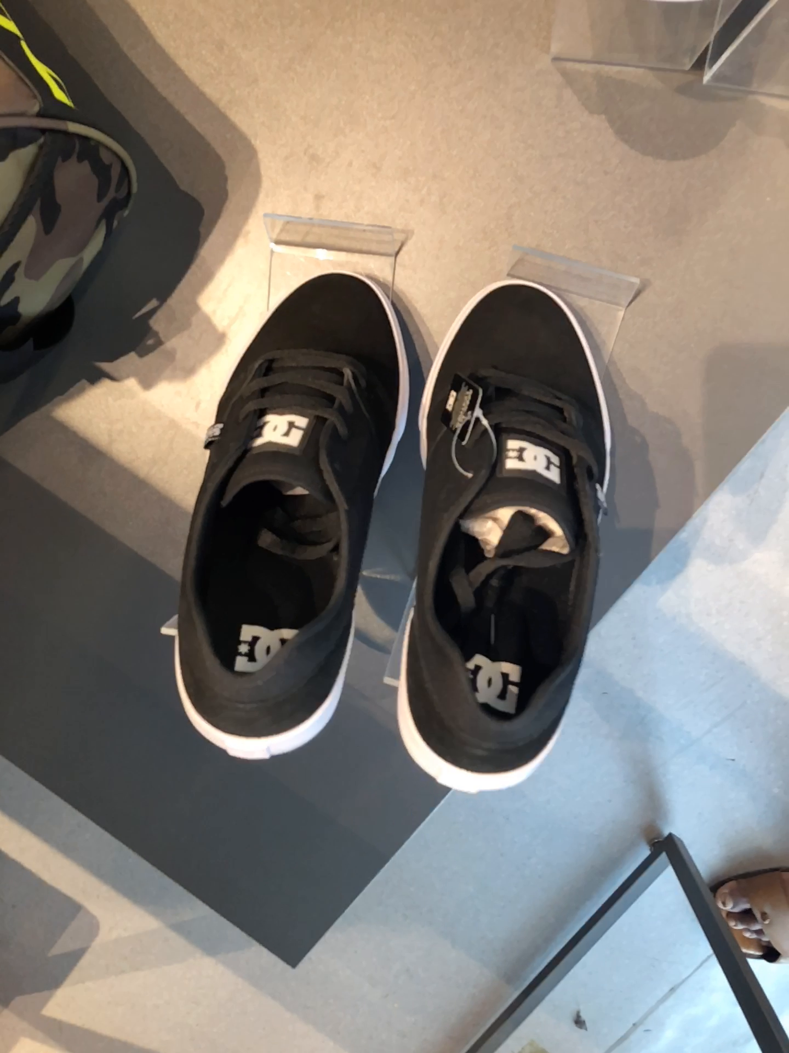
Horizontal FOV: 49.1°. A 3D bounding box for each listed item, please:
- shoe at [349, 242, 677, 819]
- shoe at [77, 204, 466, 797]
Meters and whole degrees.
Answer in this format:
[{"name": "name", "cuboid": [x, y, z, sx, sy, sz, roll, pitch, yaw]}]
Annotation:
[{"name": "shoe", "cuboid": [0.055, 0.003, 0.401, 0.106, 0.107, 0.229, 11, 66, 0]}, {"name": "shoe", "cuboid": [-0.041, -0.011, 0.389, 0.106, 0.107, 0.229, 9, 66, 1]}]
